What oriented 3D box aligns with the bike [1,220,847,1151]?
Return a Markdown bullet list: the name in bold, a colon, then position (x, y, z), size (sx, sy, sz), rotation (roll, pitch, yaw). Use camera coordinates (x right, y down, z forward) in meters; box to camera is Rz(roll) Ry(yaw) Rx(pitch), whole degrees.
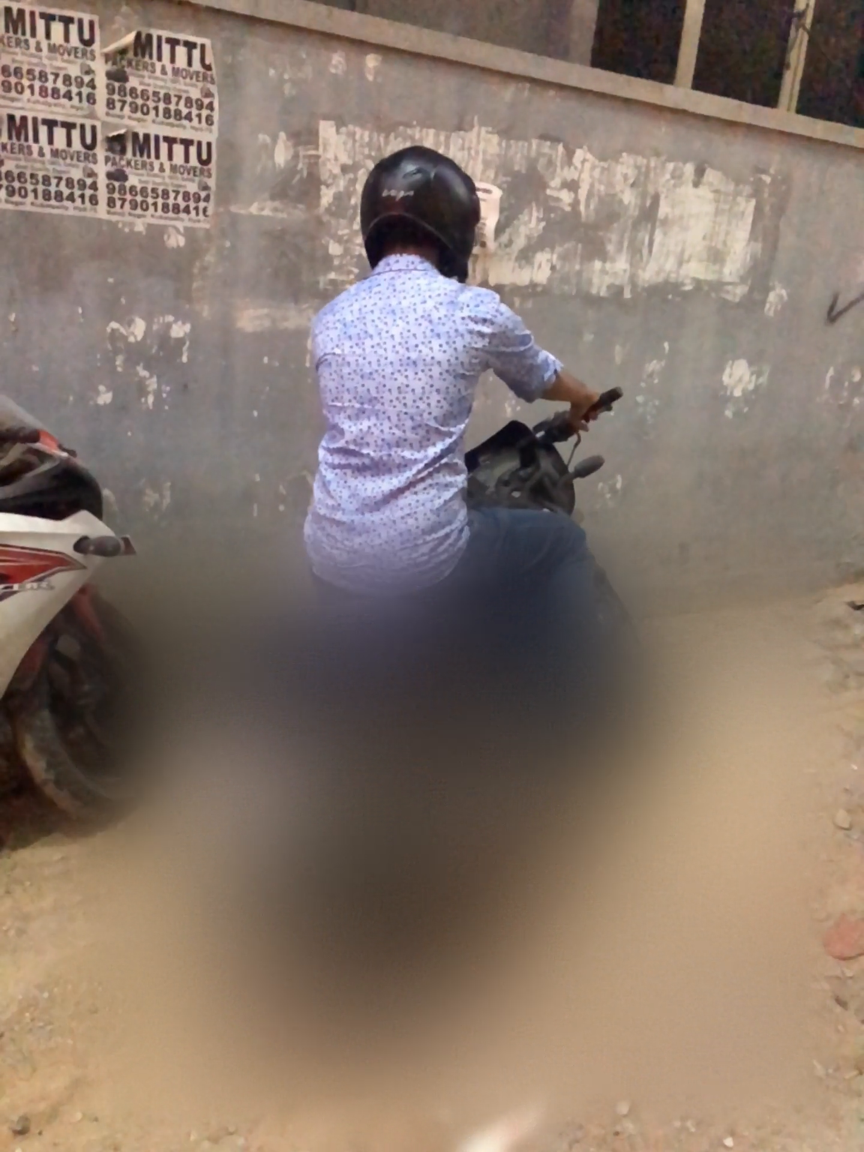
- **bike**: position (0.137, -0.008, 2.116), size (1.091, 1.113, 1.511), rotation (13, 29, 19)
